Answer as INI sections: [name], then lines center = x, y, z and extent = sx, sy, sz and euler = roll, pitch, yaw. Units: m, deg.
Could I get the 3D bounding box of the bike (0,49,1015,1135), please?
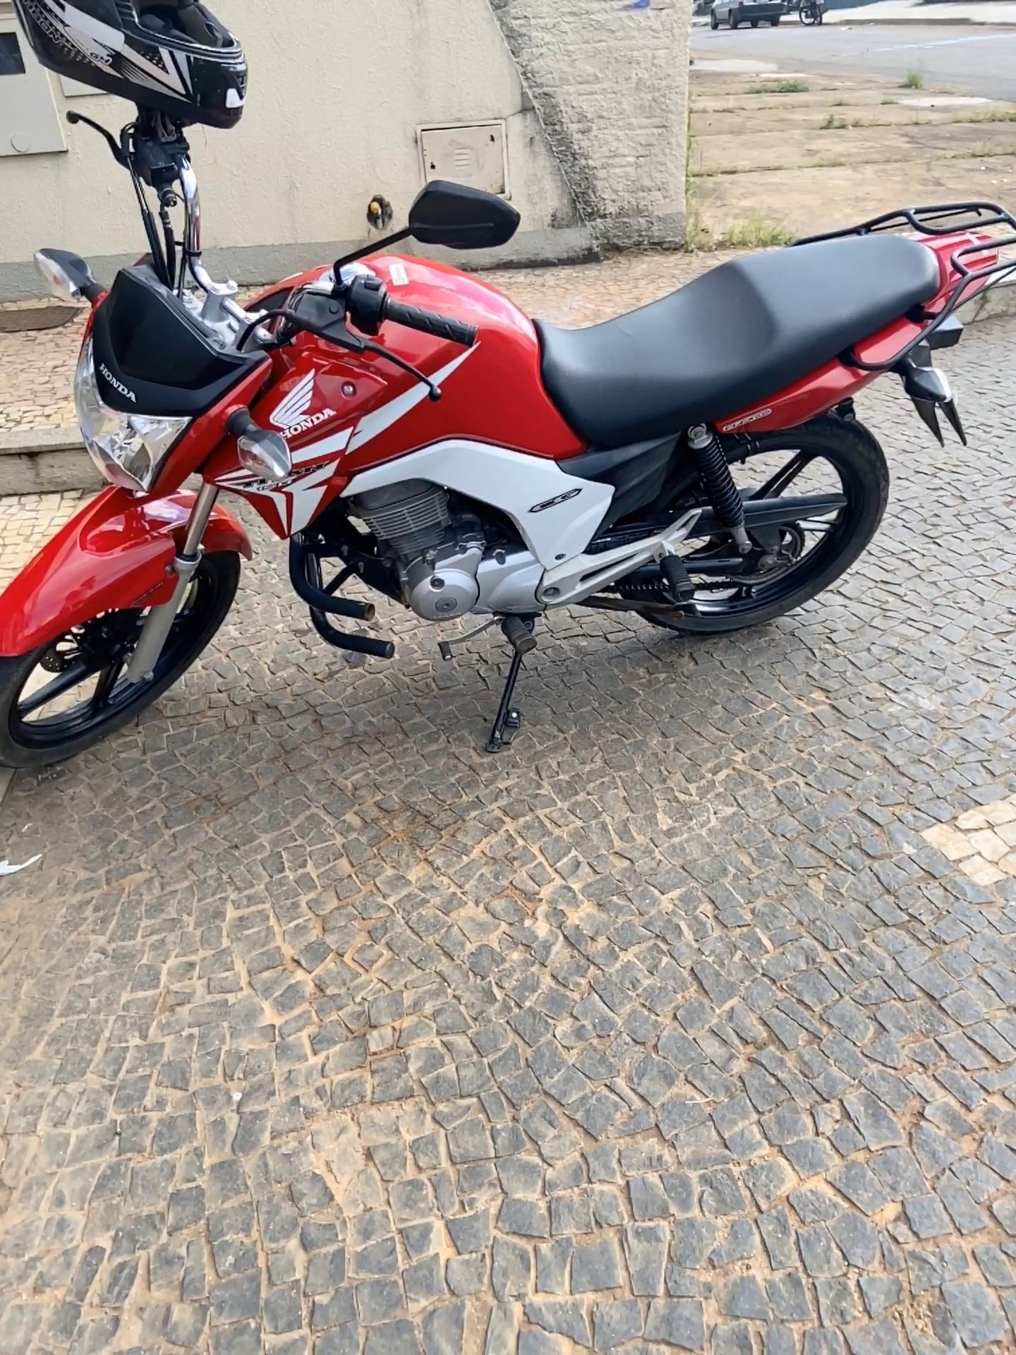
[bike]
center = 0.021, -0.322, 1.976
extent = 2.072, 1.382, 0.813
euler = -17, 33, -20
